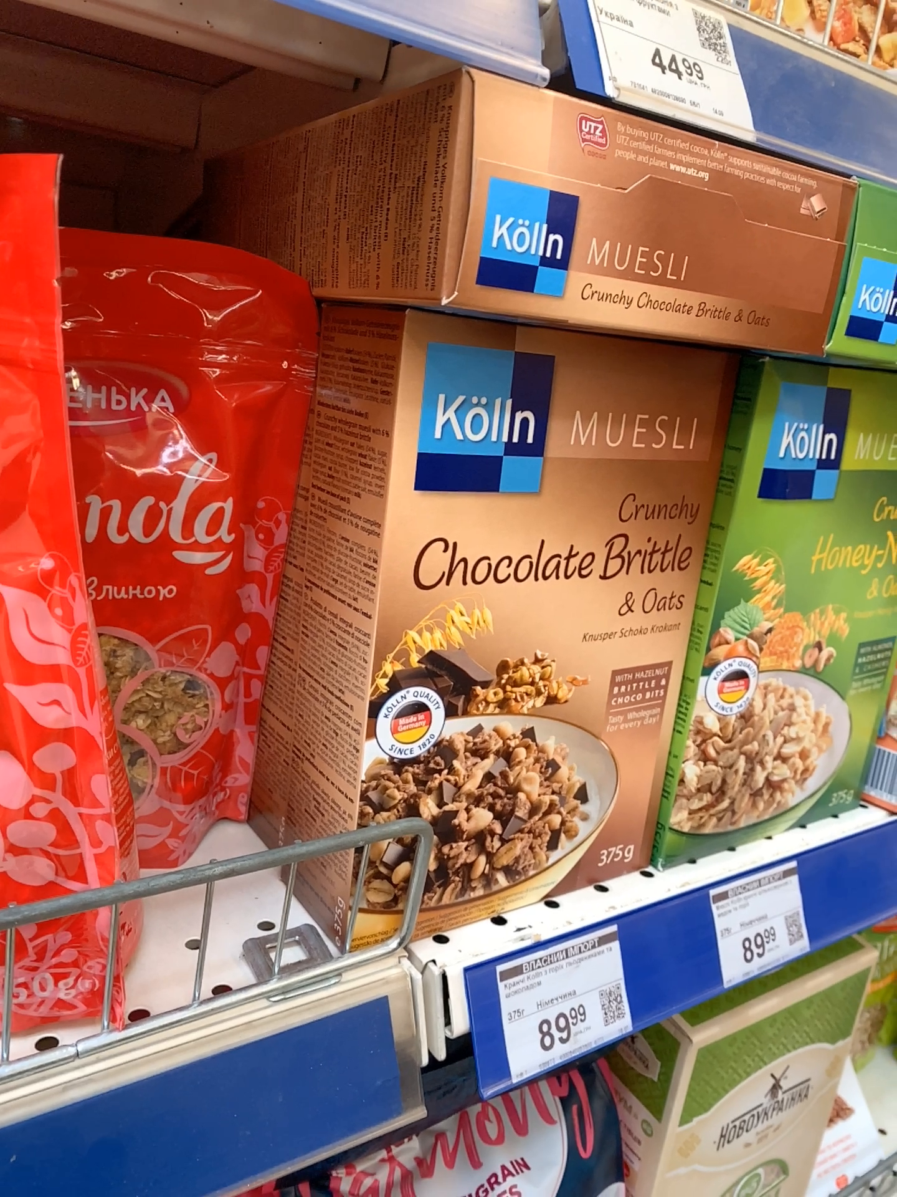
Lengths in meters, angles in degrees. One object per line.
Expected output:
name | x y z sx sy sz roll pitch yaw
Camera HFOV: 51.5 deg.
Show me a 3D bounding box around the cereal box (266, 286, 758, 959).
cereal box | 0.022 0.004 0.344 0.150 0.209 0.060 -3 16 -34
